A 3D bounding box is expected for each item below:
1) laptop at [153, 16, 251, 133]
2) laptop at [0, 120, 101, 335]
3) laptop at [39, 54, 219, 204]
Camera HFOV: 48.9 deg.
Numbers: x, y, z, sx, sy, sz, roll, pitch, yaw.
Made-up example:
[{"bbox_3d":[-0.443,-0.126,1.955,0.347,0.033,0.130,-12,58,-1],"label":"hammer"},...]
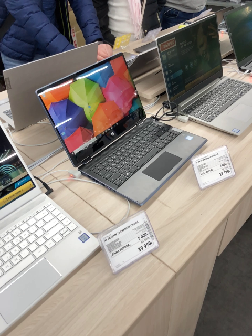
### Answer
[{"bbox_3d":[0.345,-0.350,0.970,0.330,0.218,0.352,31,51,31],"label":"laptop"},{"bbox_3d":[-0.277,0.092,0.535,0.323,0.171,0.293,29,48,29],"label":"laptop"},{"bbox_3d":[0.013,-0.139,0.776,0.327,0.194,0.327,27,49,29],"label":"laptop"}]
